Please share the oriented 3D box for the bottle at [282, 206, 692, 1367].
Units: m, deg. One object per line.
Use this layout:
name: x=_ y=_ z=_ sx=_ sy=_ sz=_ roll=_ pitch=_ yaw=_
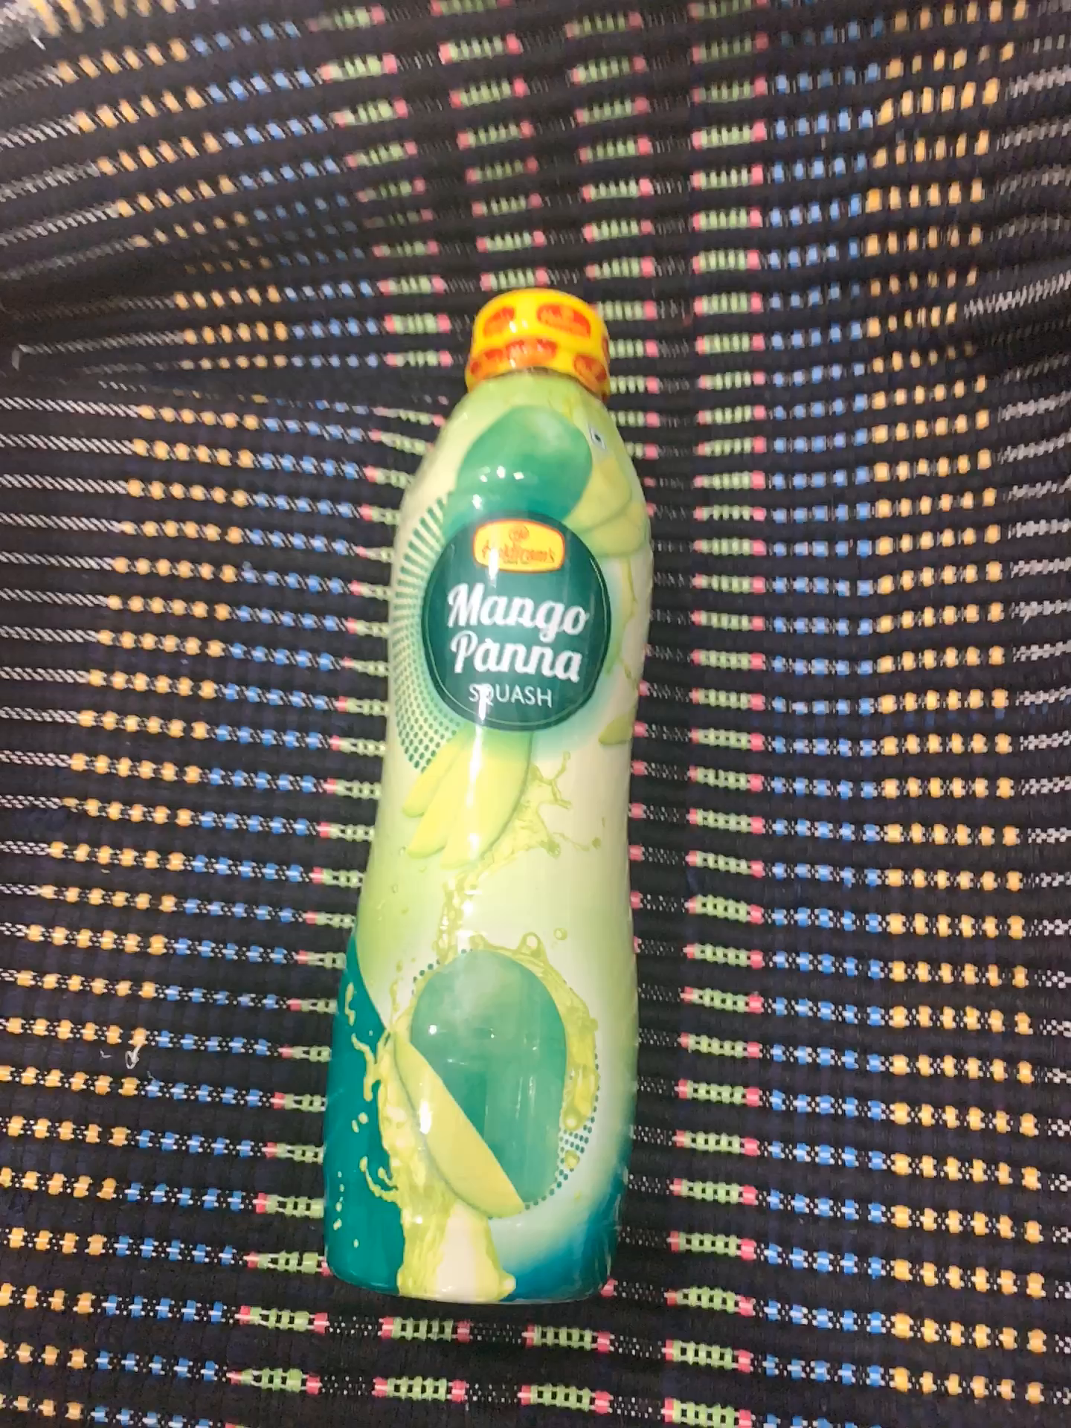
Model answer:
bottle: x=-0.004 y=0.002 z=0.278 sx=0.070 sy=0.050 sz=0.270 roll=5 pitch=70 yaw=-3
